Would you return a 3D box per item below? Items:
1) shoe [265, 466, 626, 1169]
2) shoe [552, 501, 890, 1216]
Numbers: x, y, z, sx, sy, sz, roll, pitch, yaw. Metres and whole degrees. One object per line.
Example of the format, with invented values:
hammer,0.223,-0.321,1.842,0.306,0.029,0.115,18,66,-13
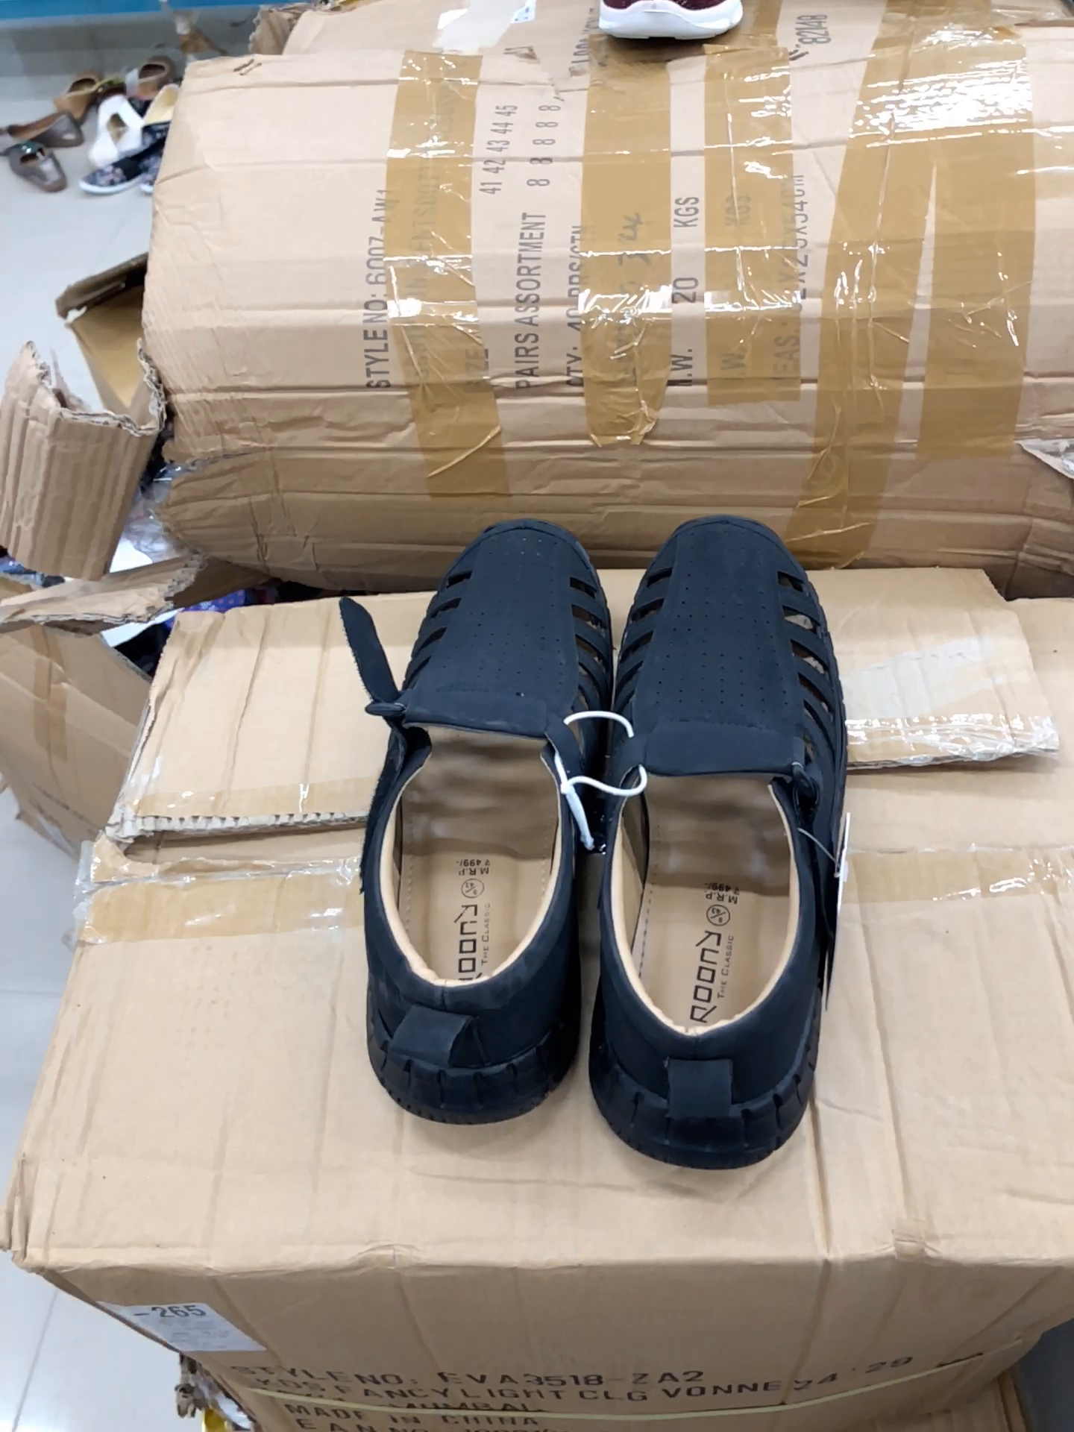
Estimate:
shoe,-0.021,0.027,0.489,0.110,0.099,0.282,-1,50,4
shoe,0.073,0.041,0.478,0.100,0.099,0.272,3,50,7
